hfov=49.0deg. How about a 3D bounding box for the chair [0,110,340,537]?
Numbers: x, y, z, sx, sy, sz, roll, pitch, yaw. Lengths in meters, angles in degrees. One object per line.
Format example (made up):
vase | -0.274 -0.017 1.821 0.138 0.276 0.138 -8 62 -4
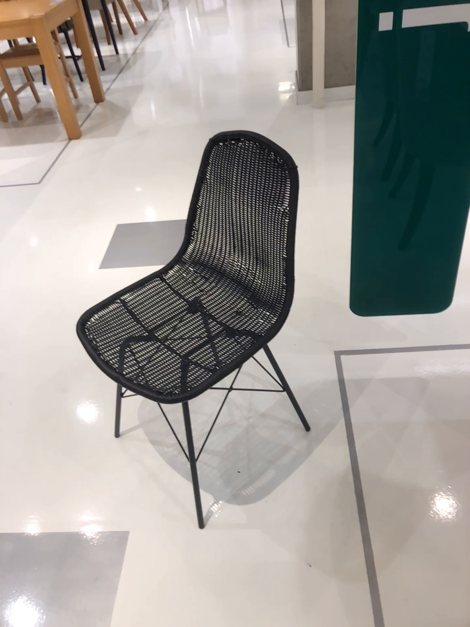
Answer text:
chair | -0.105 0.013 1.312 0.552 0.794 0.482 -34 46 -28
